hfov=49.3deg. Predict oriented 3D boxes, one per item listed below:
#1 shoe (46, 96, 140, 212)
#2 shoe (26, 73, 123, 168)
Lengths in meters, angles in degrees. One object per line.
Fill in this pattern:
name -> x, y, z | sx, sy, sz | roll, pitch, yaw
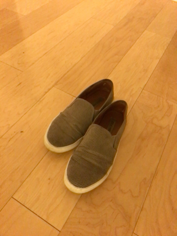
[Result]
shoe -> 0.026, 0.069, 0.488 | 0.110, 0.050, 0.282 | 25, 54, 14
shoe -> -0.024, -0.009, 0.542 | 0.110, 0.060, 0.282 | 31, 56, 18
